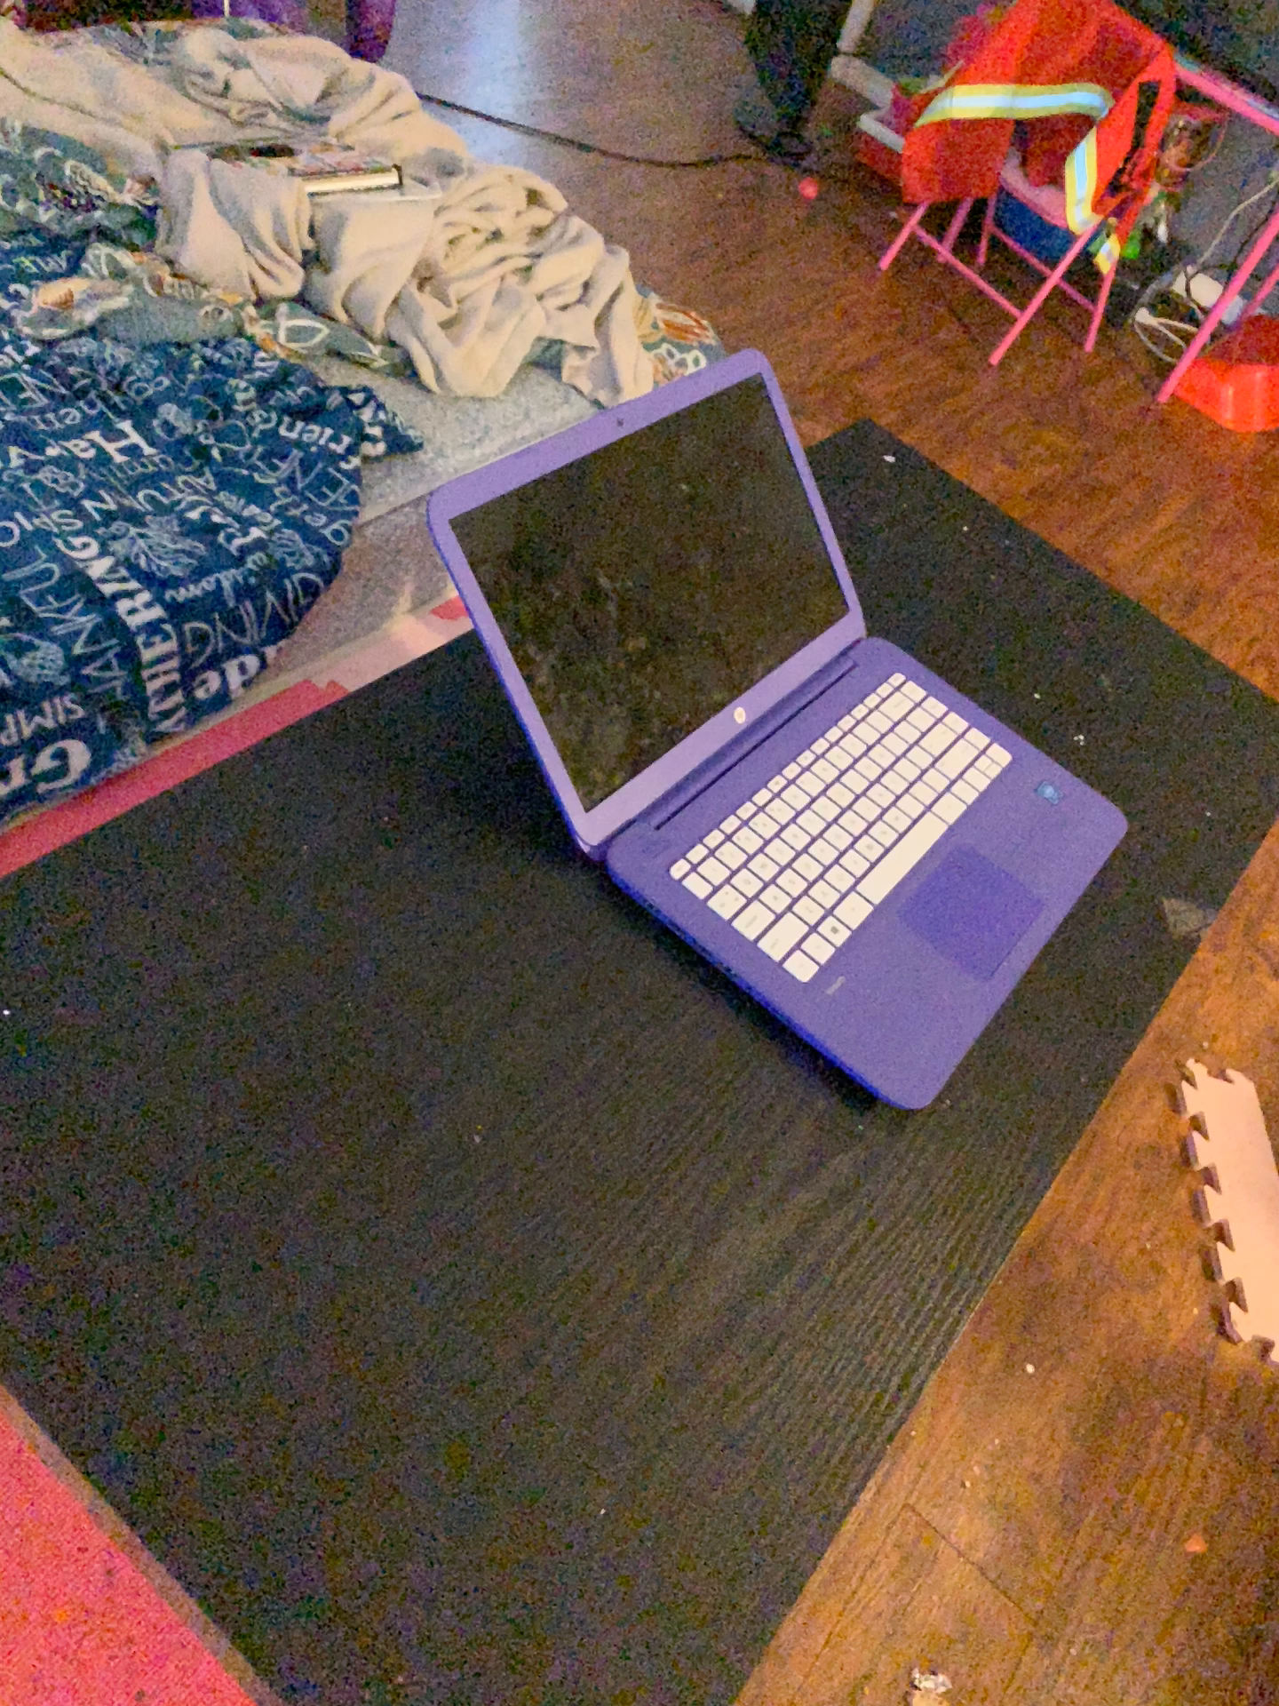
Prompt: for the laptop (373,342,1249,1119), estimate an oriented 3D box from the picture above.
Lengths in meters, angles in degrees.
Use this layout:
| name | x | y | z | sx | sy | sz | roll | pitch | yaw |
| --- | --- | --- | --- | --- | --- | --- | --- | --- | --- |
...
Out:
| name | x | y | z | sx | sy | sz | roll | pitch | yaw |
| --- | --- | --- | --- | --- | --- | --- | --- | --- | --- |
| laptop | 0.111 | -0.106 | 0.800 | 0.397 | 0.132 | 0.341 | 40 | 48 | 13 |
